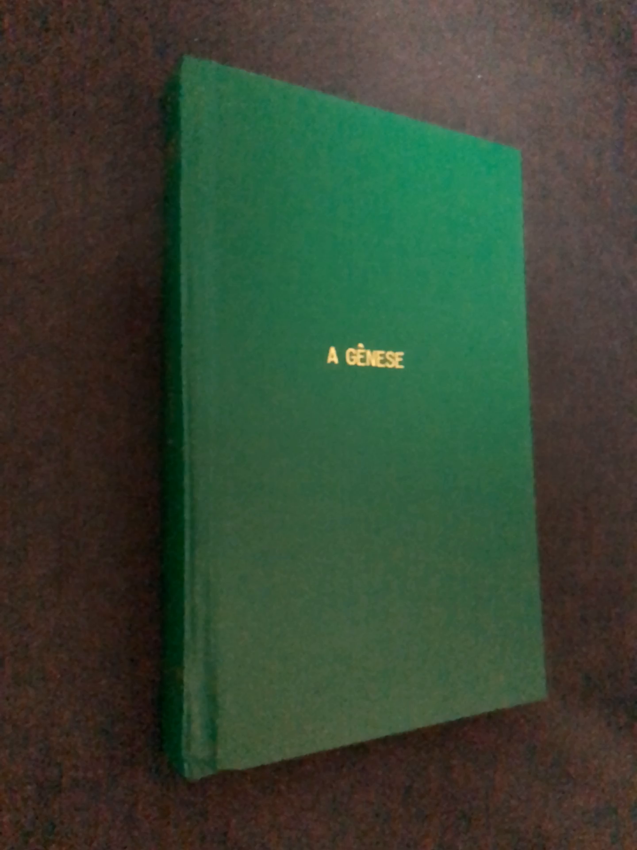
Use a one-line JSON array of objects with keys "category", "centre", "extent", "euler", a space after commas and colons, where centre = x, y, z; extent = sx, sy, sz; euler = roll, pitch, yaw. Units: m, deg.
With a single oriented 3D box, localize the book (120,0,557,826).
[{"category": "book", "centre": [0.010, -0.009, 0.257], "extent": [0.150, 0.040, 0.240], "euler": [1, 84, -29]}]
